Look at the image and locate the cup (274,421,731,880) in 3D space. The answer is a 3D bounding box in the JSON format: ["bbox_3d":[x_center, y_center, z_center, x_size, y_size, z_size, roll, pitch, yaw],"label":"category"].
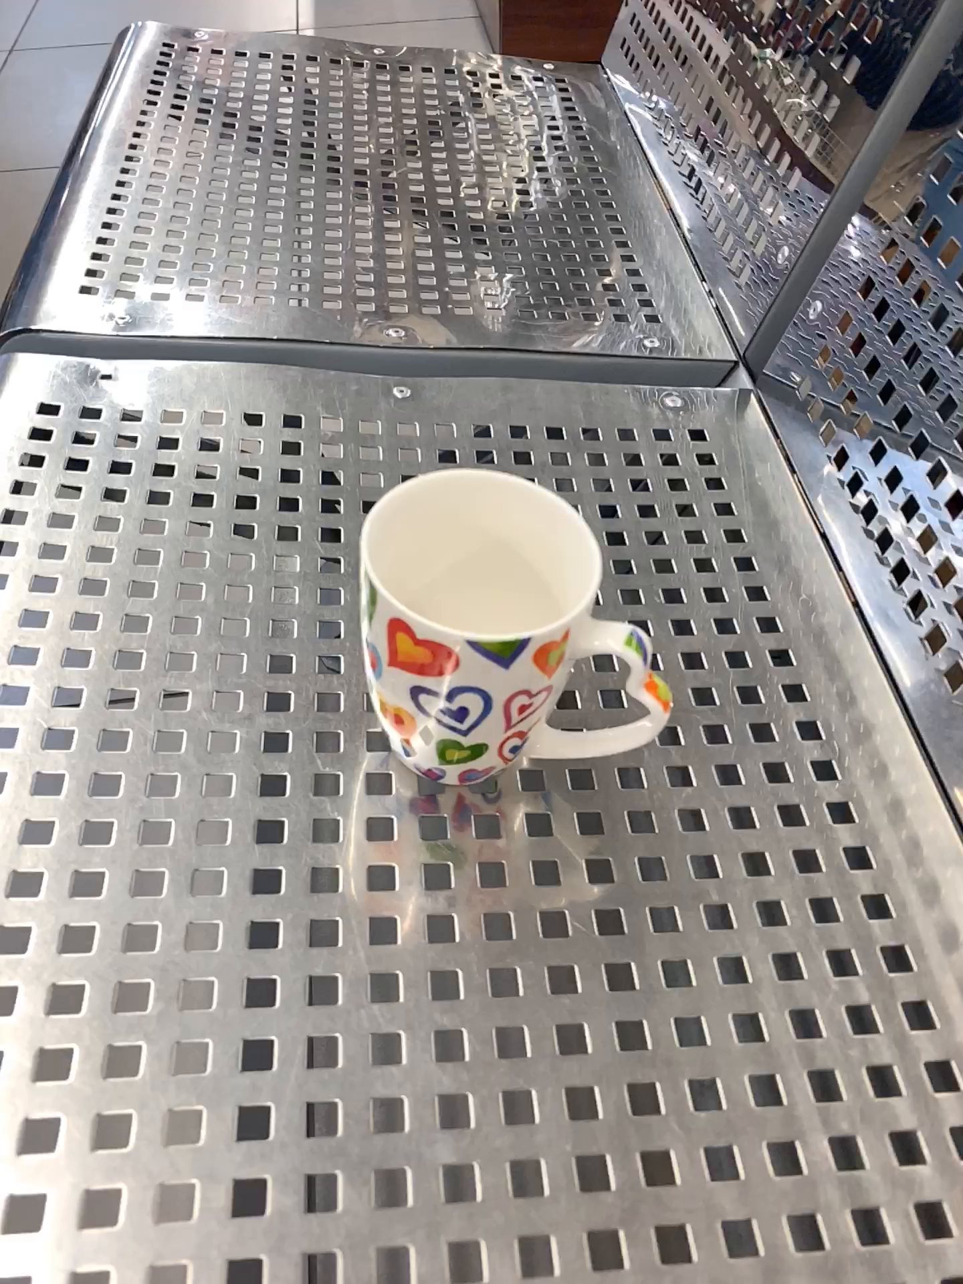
[{"bbox_3d":[0.004,0.004,0.334,0.120,0.100,0.070,23,51,12],"label":"cup"}]
